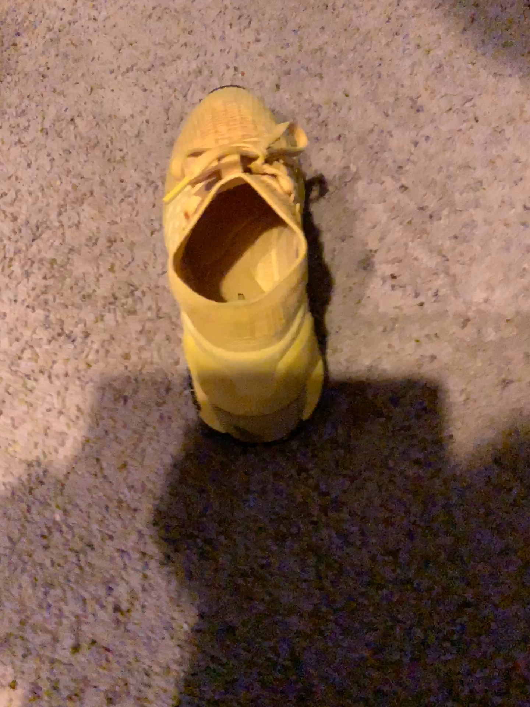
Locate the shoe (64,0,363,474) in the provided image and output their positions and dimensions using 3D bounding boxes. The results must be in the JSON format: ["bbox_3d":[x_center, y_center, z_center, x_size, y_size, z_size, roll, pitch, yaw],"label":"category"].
[{"bbox_3d":[-0.028,-0.103,0.386,0.130,0.130,0.320,-7,62,4],"label":"shoe"}]
